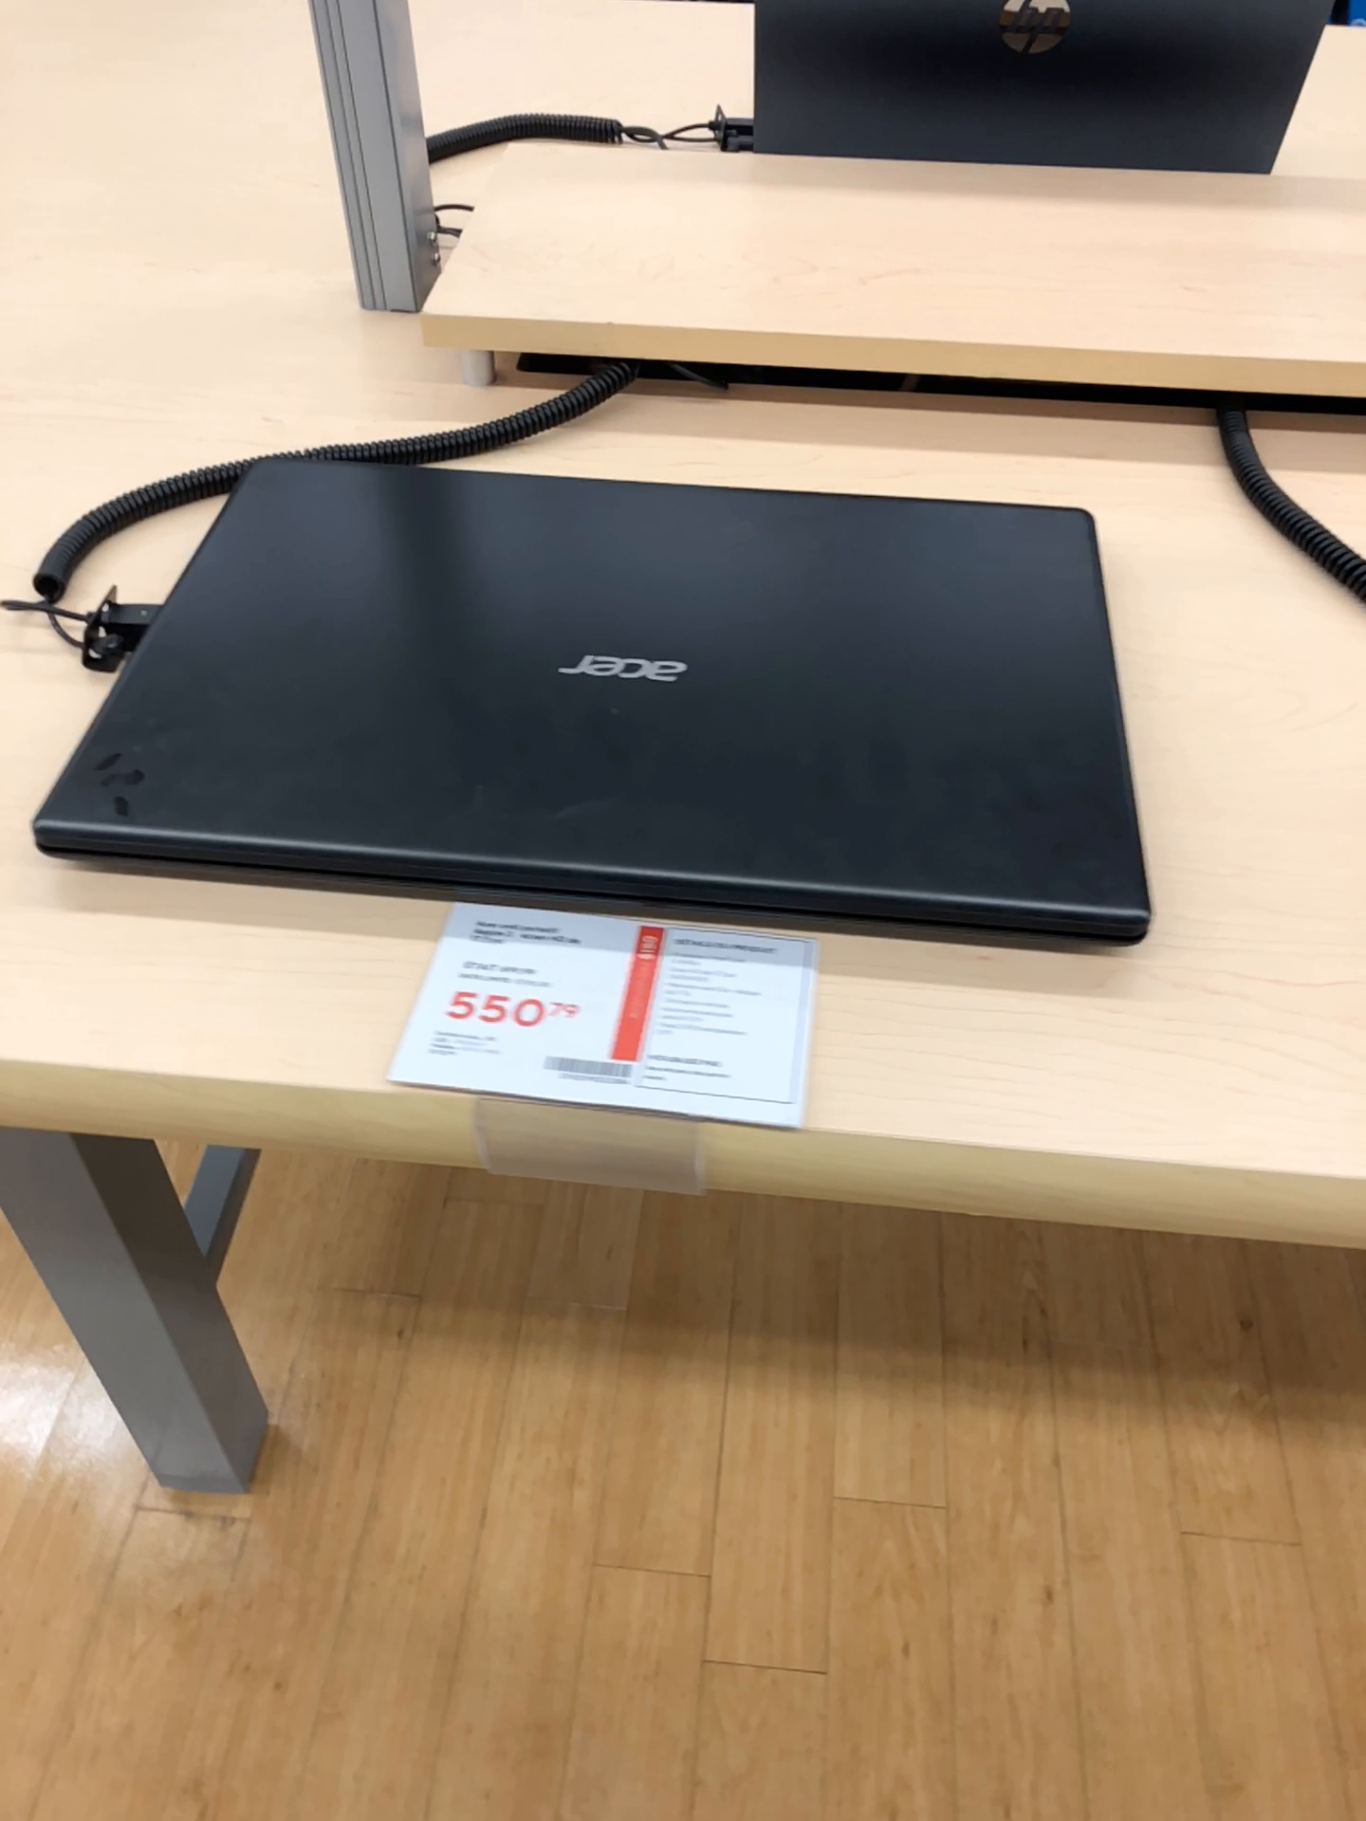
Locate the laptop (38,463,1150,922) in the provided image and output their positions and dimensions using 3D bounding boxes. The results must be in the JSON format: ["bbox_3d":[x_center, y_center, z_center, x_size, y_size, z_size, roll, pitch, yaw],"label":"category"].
[{"bbox_3d":[-0.026,-0.111,0.648,0.416,0.001,0.268,5,46,5],"label":"laptop"}]
